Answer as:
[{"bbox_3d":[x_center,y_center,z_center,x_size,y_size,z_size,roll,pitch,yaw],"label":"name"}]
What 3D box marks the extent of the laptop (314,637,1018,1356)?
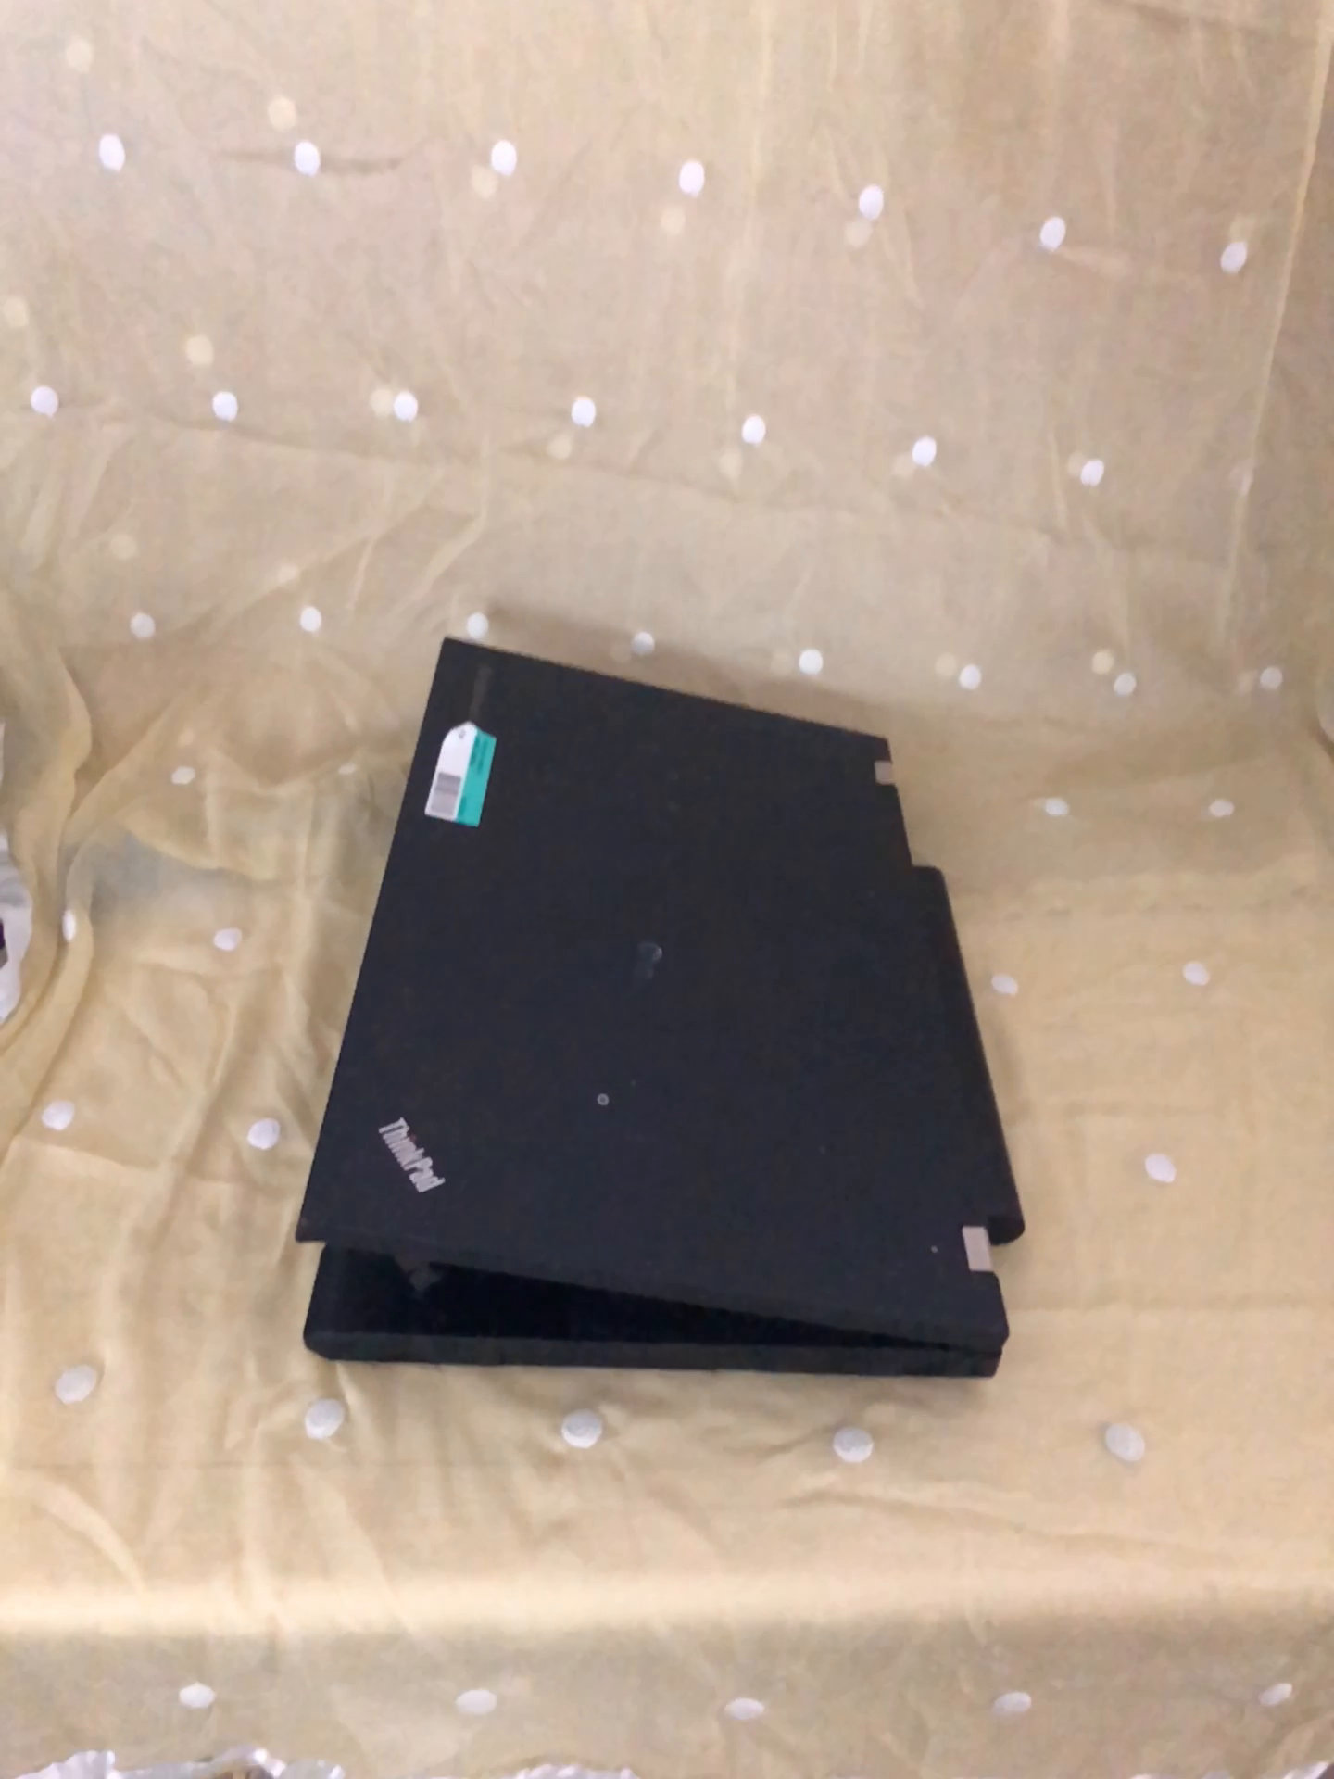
[{"bbox_3d":[0.000,0.014,0.622,0.225,0.050,0.358,2,40,1],"label":"laptop"}]
